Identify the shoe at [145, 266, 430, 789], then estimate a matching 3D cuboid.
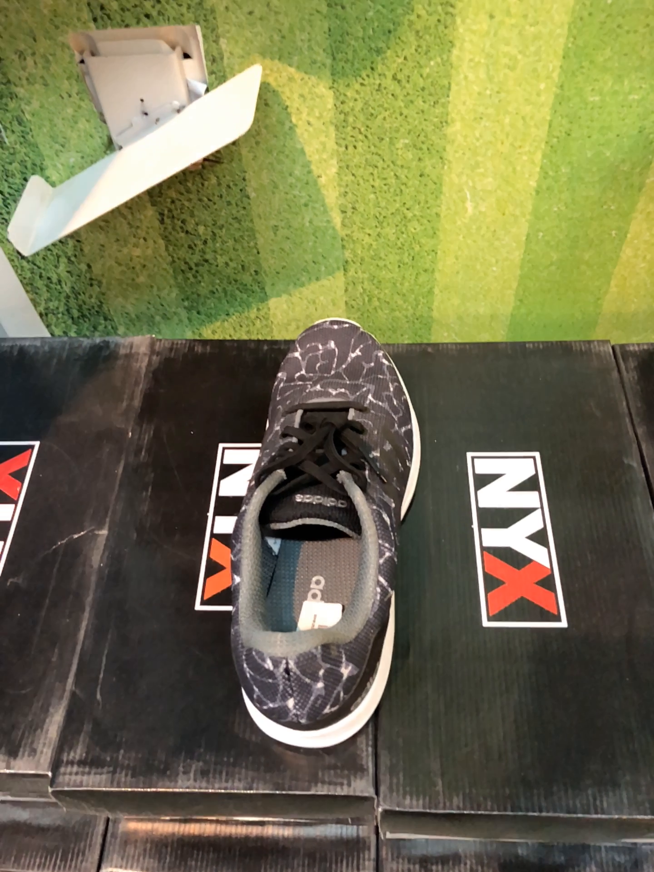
[{"bbox_3d":[-0.002,0.038,0.408,0.108,0.121,0.262,3,53,6],"label":"shoe"}]
